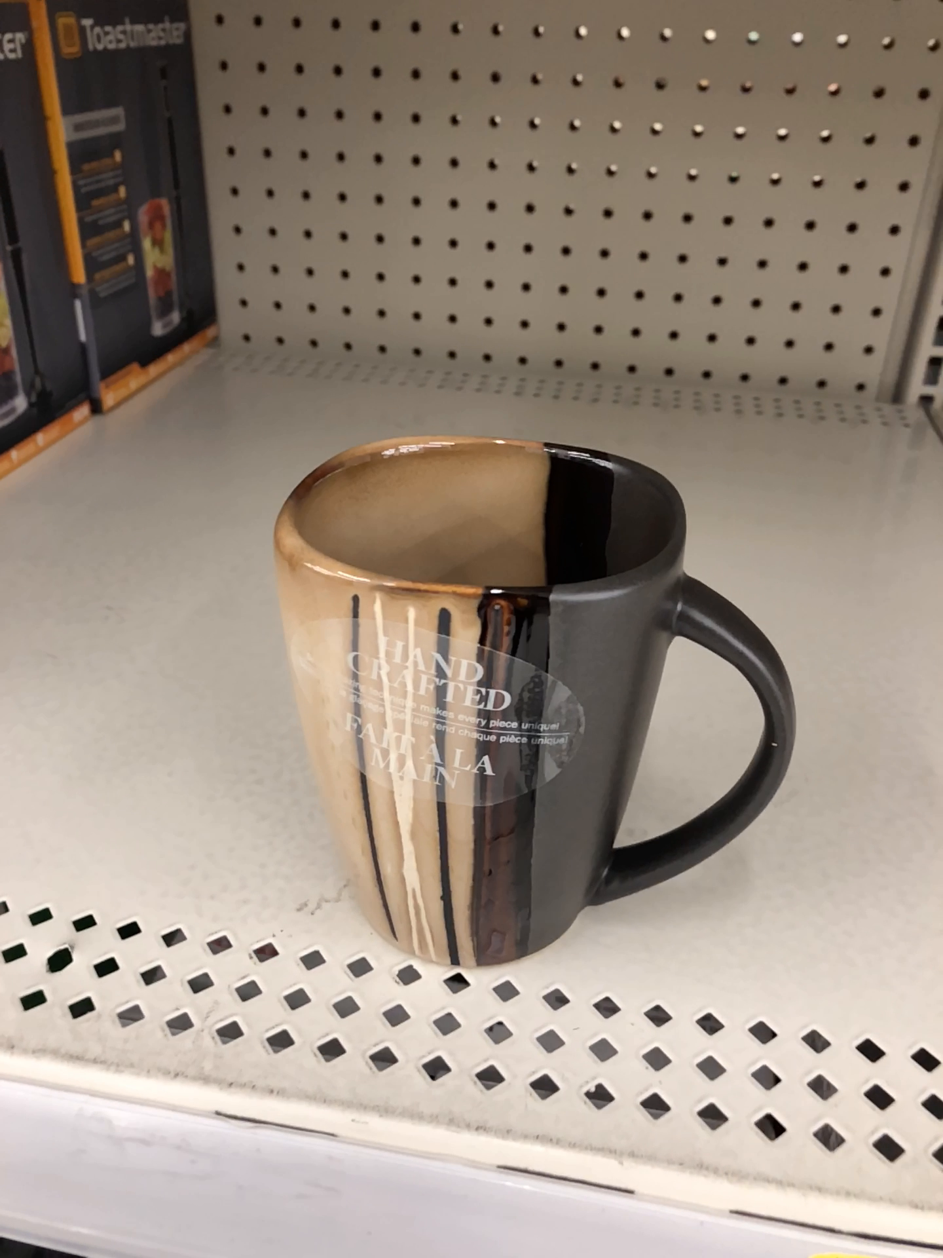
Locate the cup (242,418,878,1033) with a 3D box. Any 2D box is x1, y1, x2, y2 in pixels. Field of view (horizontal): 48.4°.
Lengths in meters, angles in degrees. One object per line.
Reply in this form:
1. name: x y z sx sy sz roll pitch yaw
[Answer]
1. cup: 0.020 0.019 0.262 0.120 0.110 0.087 6 31 7
